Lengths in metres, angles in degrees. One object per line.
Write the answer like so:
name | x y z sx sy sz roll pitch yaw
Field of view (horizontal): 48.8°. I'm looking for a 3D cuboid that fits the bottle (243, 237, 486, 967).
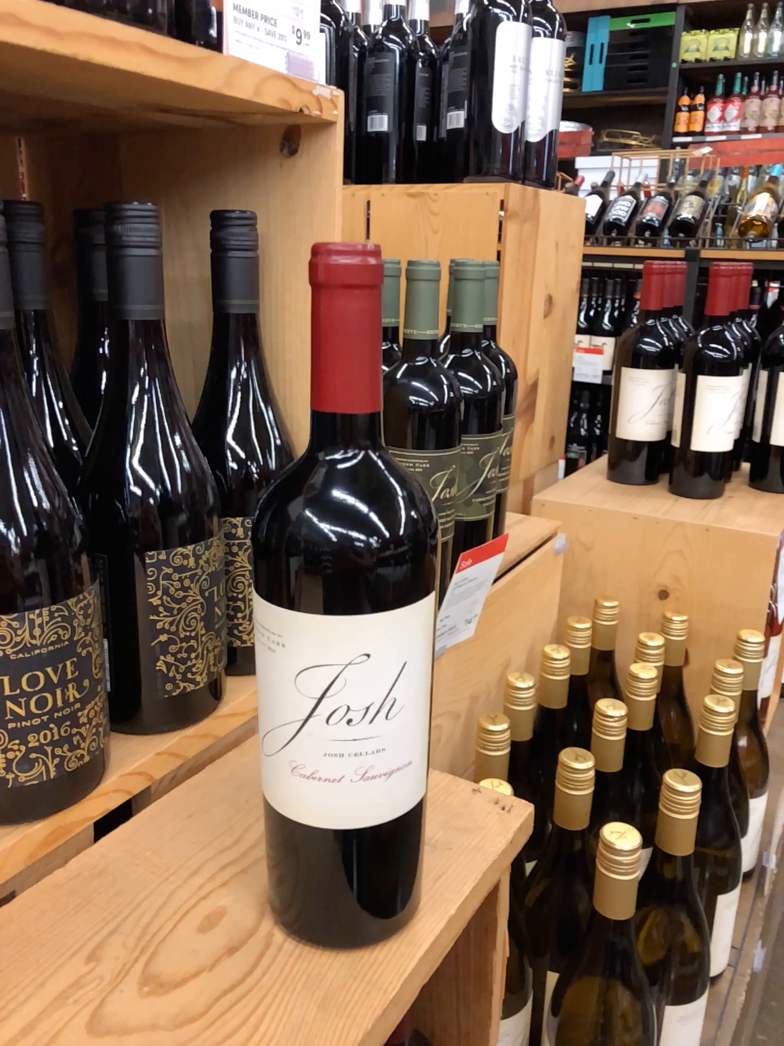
bottle | -0.016 0.036 0.366 0.080 0.294 0.081 2 17 0
